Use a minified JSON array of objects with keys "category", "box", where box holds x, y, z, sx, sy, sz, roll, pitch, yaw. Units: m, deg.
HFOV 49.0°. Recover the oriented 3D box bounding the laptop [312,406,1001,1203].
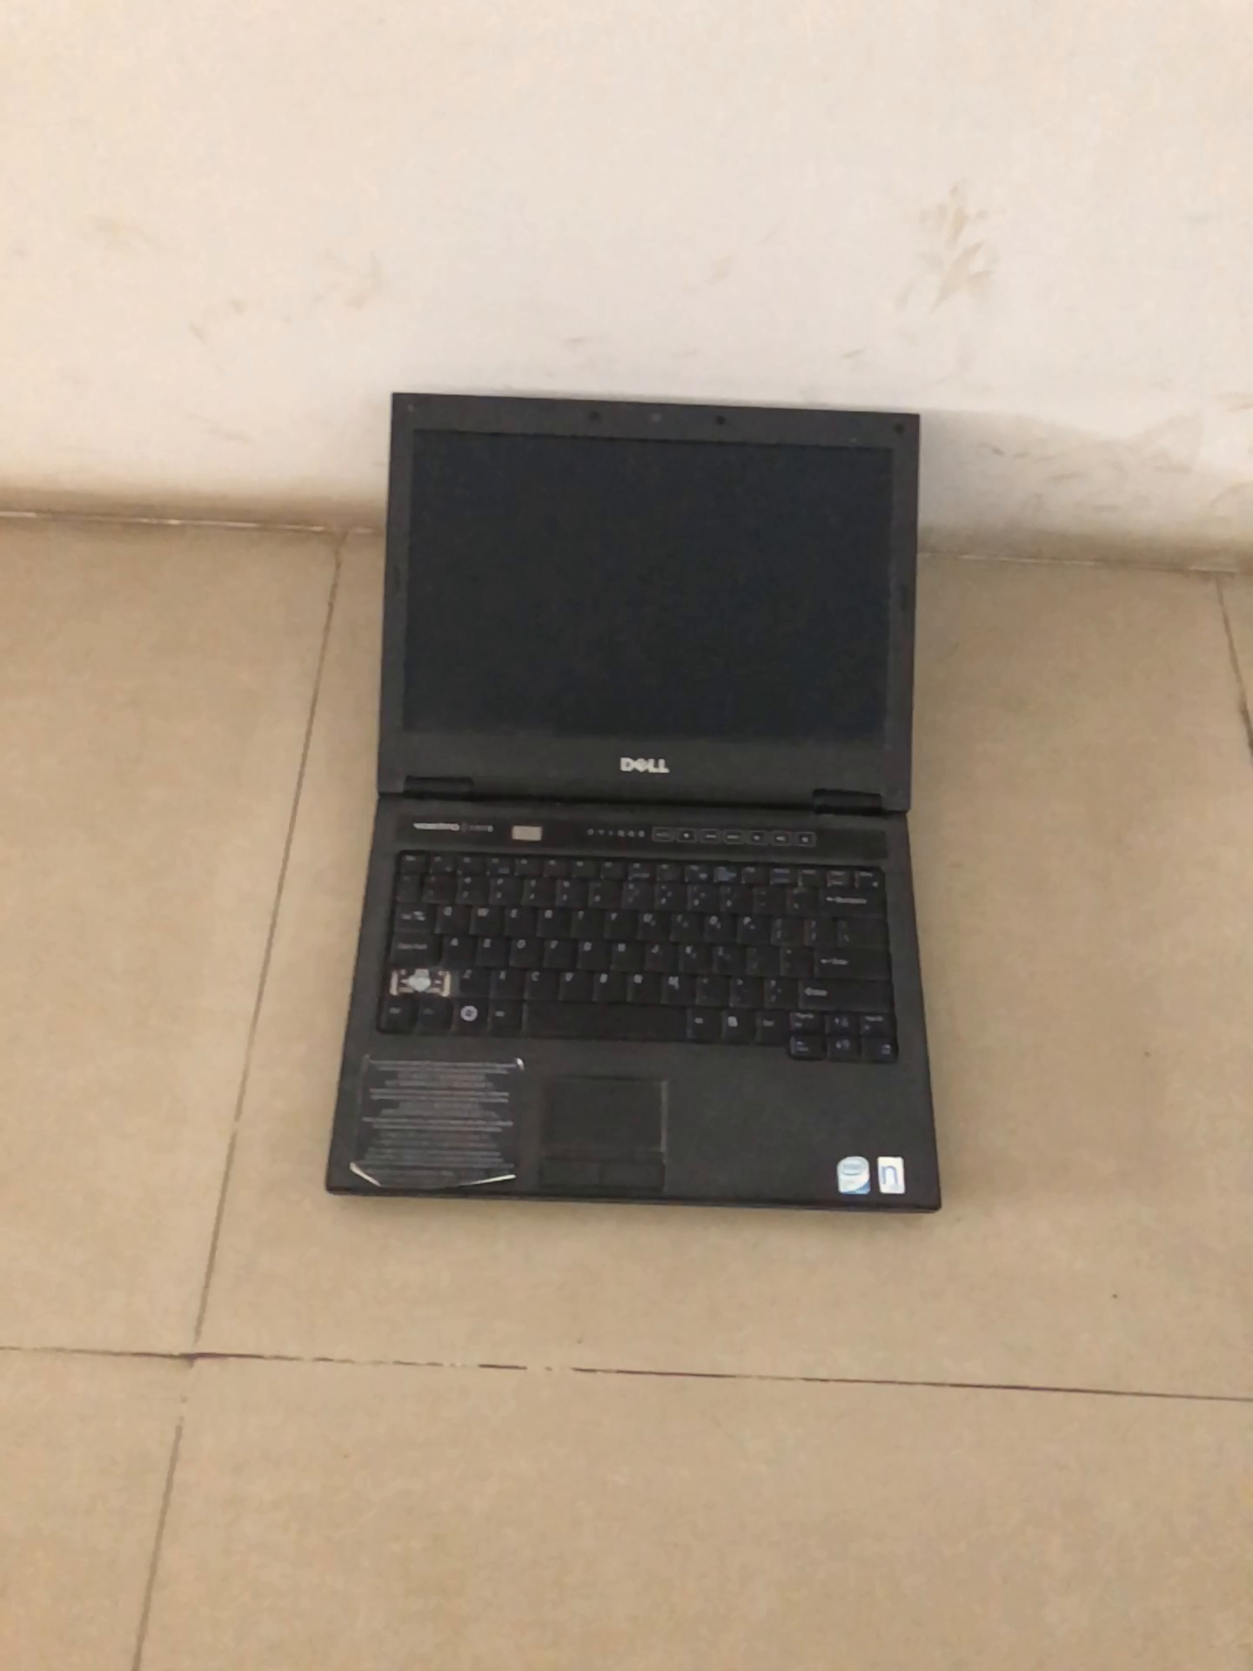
[{"category":"laptop","box":[0.017,-0.034,0.753,0.299,0.114,0.434,2,60,0]}]
